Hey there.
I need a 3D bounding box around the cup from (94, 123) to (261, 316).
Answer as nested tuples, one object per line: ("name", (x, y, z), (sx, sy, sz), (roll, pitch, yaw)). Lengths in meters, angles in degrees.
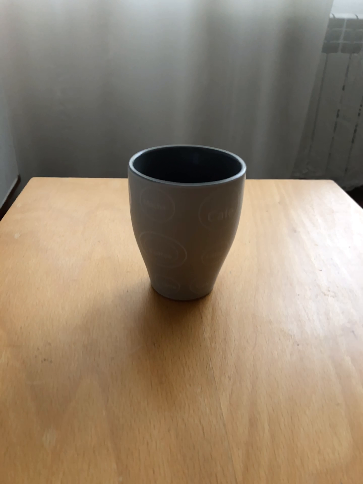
("cup", (0.004, -0.027, 0.311), (0.084, 0.093, 0.127), (10, 30, 15))
